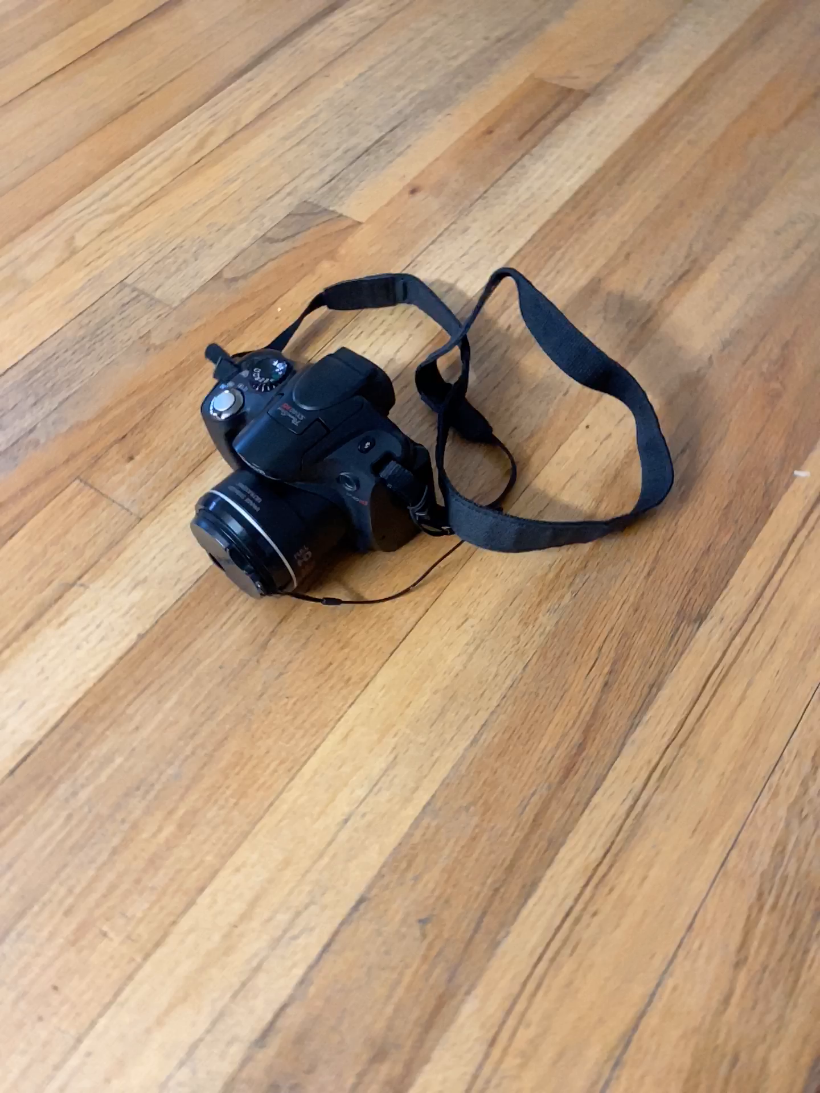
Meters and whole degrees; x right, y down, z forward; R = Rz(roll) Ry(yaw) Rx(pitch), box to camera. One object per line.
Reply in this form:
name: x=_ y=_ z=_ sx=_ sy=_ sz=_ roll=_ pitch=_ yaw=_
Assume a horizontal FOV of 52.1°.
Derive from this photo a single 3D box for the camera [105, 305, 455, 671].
camera: x=-0.060 y=-0.031 z=0.447 sx=0.110 sy=0.110 sz=0.120 roll=32 pitch=66 yaw=25
